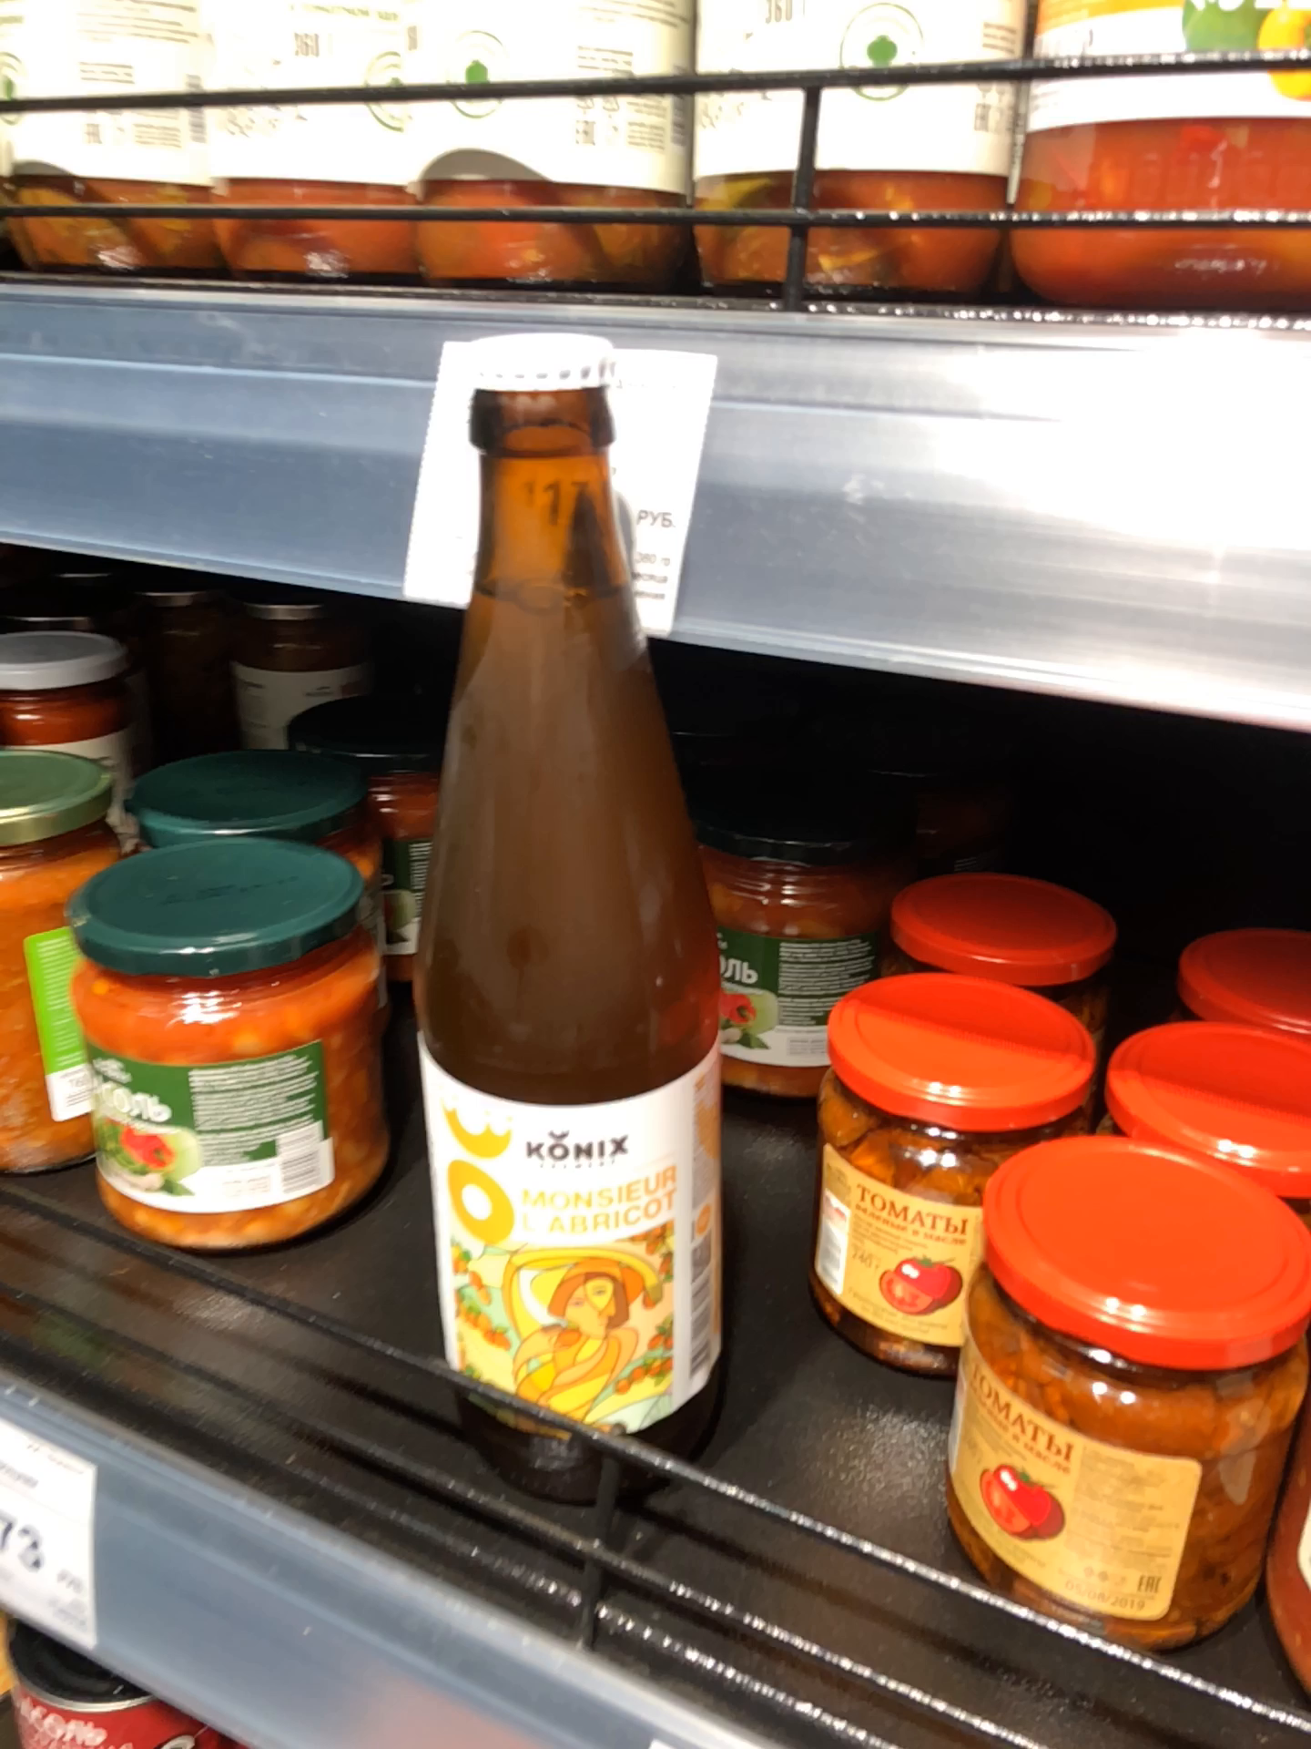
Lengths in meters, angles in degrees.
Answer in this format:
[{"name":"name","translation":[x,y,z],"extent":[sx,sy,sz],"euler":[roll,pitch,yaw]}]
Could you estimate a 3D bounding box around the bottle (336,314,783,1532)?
[{"name":"bottle","translation":[-0.013,0.017,0.305],"extent":[0.070,0.249,0.070],"euler":[0,24,0]}]
